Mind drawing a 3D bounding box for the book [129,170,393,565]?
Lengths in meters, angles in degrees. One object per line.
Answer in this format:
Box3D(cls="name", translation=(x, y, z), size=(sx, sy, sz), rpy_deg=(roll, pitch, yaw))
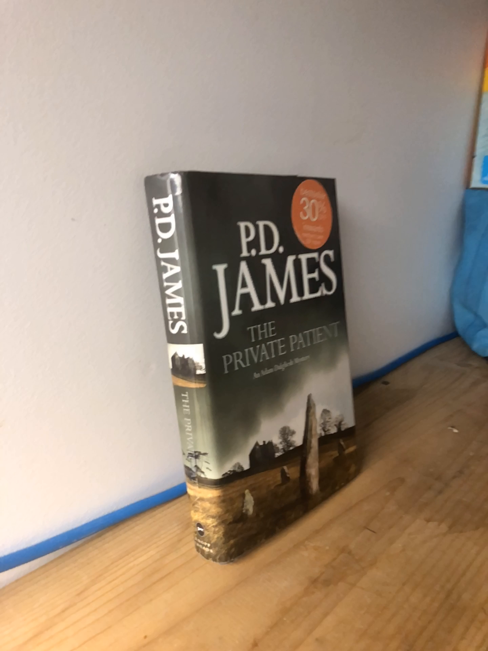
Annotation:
Box3D(cls="book", translation=(0.026, 0.012, 0.377), size=(0.180, 0.230, 0.040), rpy_deg=(-14, 9, -41))
